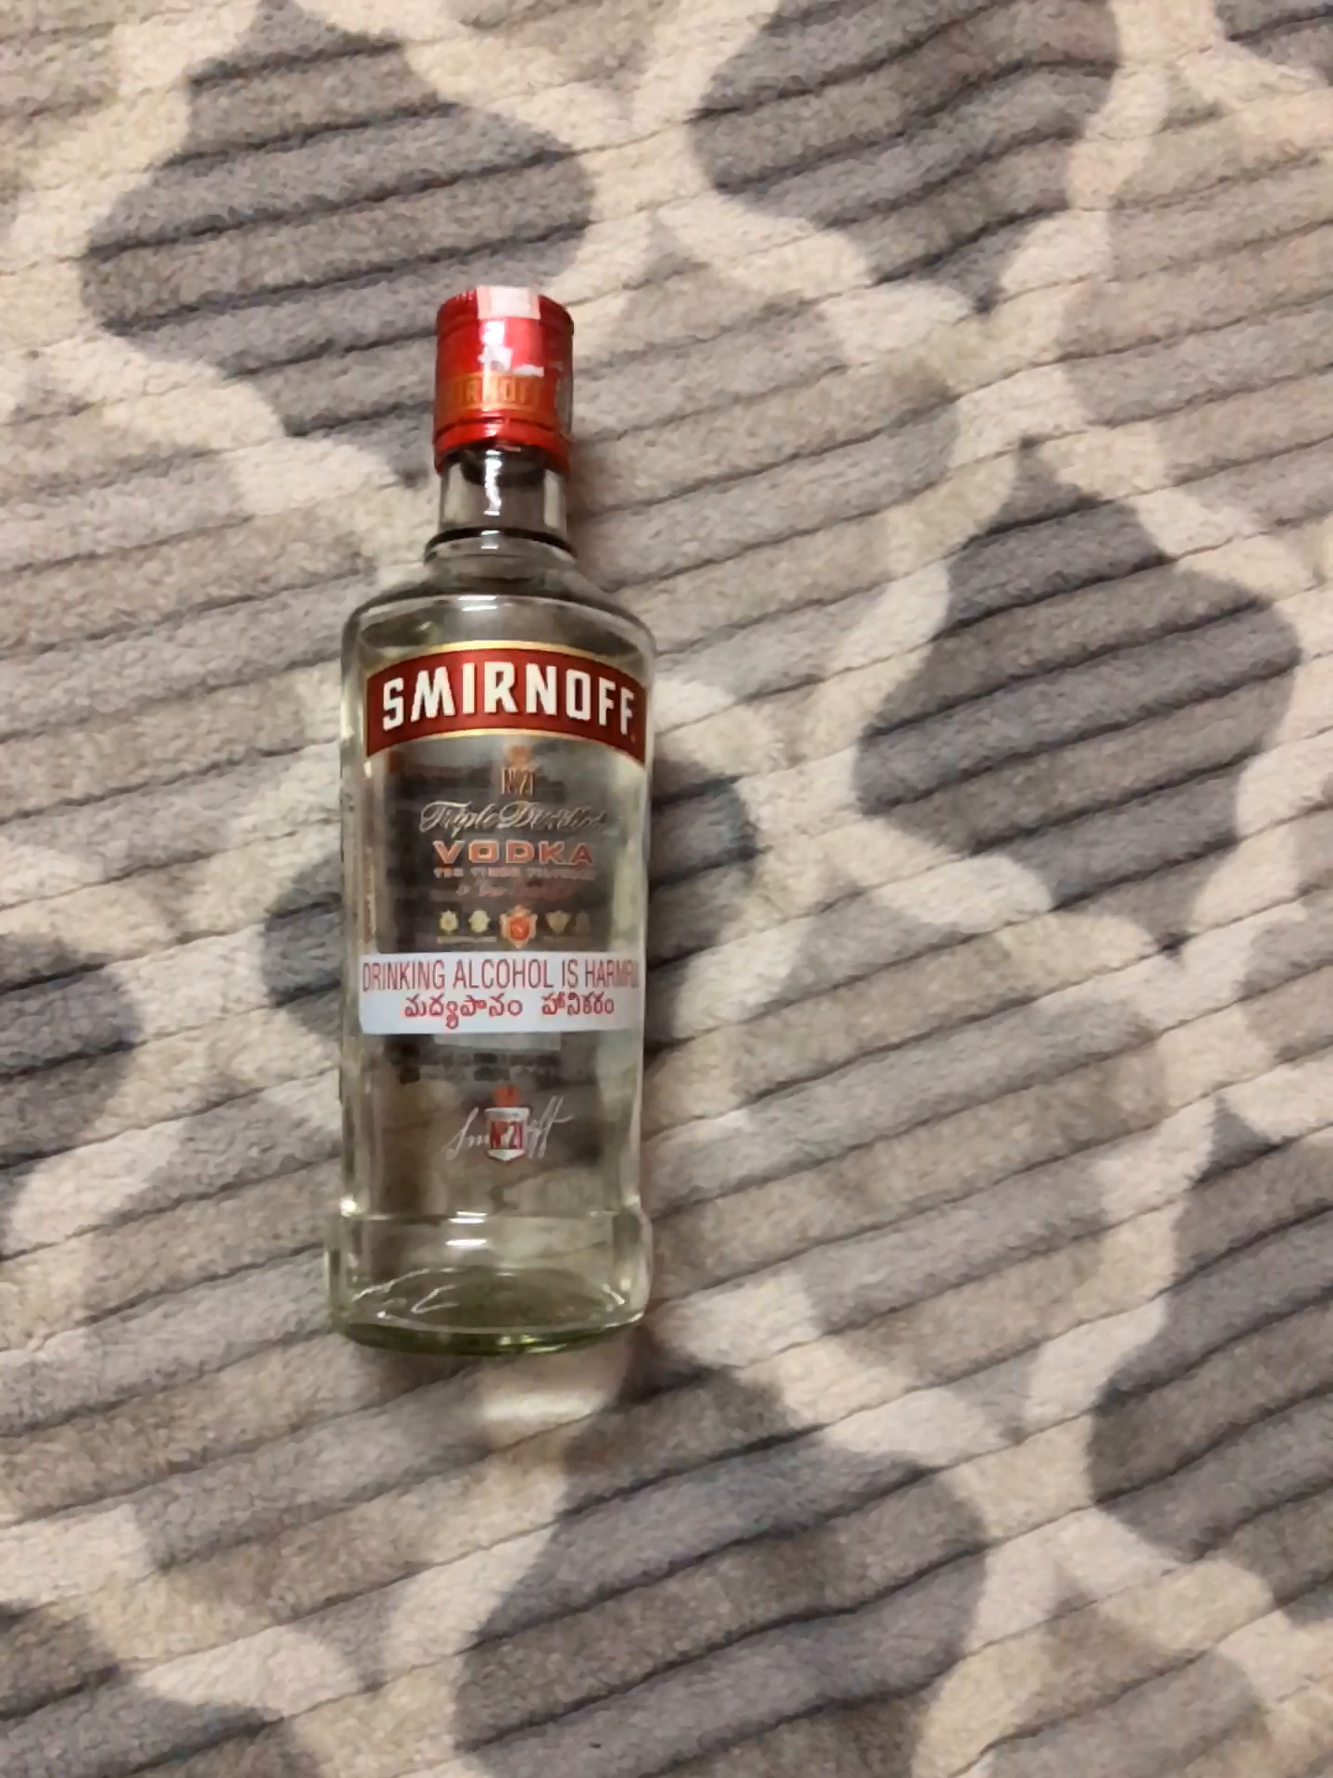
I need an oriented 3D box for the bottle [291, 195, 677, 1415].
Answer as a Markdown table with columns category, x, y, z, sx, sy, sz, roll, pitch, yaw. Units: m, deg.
| category | x | y | z | sx | sy | sz | roll | pitch | yaw |
| --- | --- | --- | --- | --- | --- | --- | --- | --- | --- |
| bottle | -0.039 | -0.017 | 0.313 | 0.070 | 0.060 | 0.230 | 2 | 83 | -14 |
